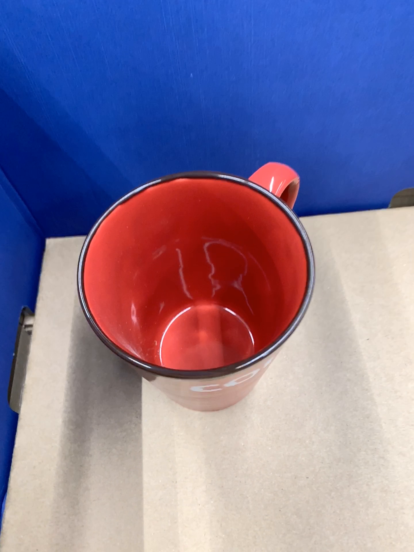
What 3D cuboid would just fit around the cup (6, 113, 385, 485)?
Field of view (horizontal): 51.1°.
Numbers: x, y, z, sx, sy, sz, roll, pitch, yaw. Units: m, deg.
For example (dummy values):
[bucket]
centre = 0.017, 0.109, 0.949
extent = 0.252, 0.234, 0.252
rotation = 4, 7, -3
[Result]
[cup]
centre = 0.002, 0.009, 0.214
extent = 0.100, 0.092, 0.125
rotation = 29, 64, 22
